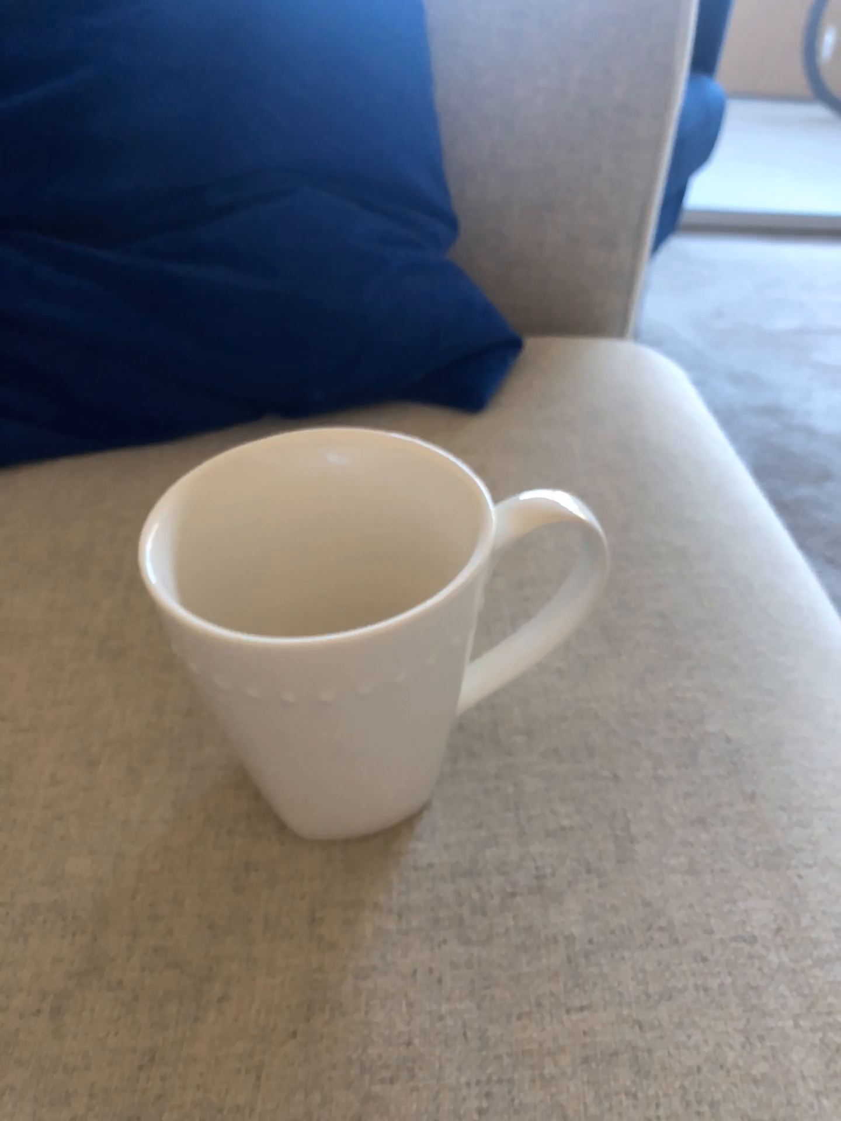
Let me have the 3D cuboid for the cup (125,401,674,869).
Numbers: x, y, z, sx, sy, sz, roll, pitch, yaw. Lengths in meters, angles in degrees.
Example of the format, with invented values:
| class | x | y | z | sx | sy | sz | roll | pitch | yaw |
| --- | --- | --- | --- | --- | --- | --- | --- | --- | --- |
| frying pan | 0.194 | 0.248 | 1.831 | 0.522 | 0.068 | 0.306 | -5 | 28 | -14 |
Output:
| class | x | y | z | sx | sy | sz | roll | pitch | yaw |
| --- | --- | --- | --- | --- | --- | --- | --- | --- | --- |
| cup | -0.012 | 0.017 | 0.287 | 0.130 | 0.090 | 0.100 | -3 | 37 | -9 |
